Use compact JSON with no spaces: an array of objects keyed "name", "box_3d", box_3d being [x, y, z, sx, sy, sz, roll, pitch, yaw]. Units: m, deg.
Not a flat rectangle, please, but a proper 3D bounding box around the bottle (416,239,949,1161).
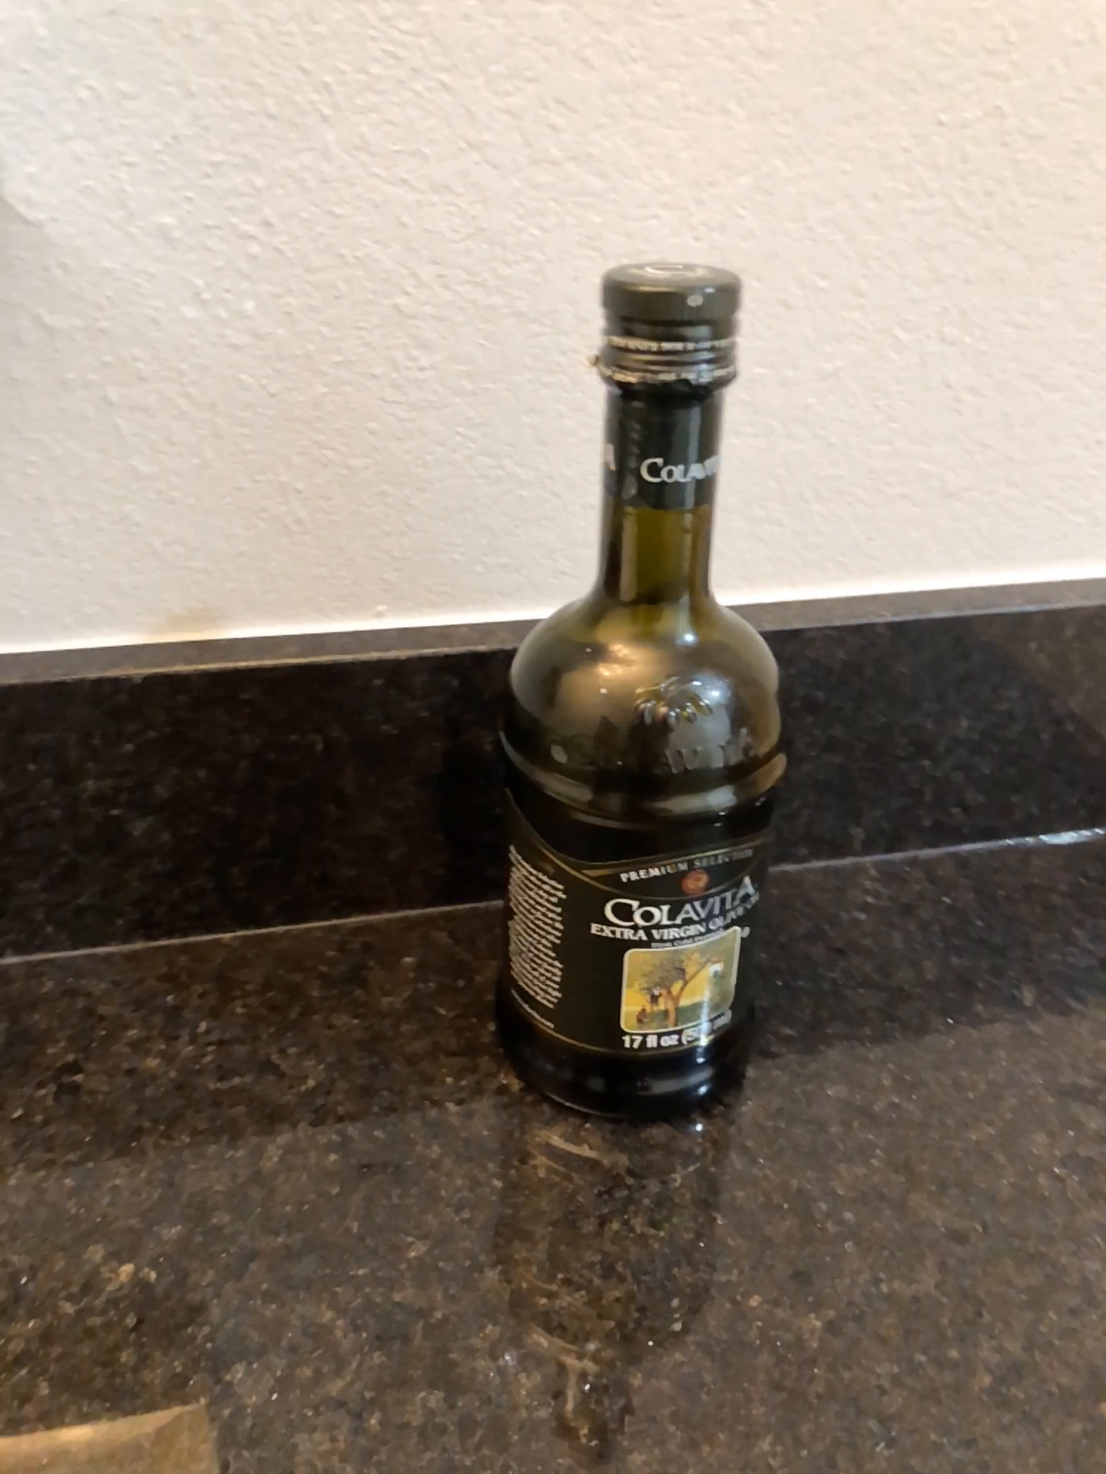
[{"name":"bottle","box_3d":[0.020,-0.007,0.327,0.090,0.219,0.090,1,31,-1]}]
